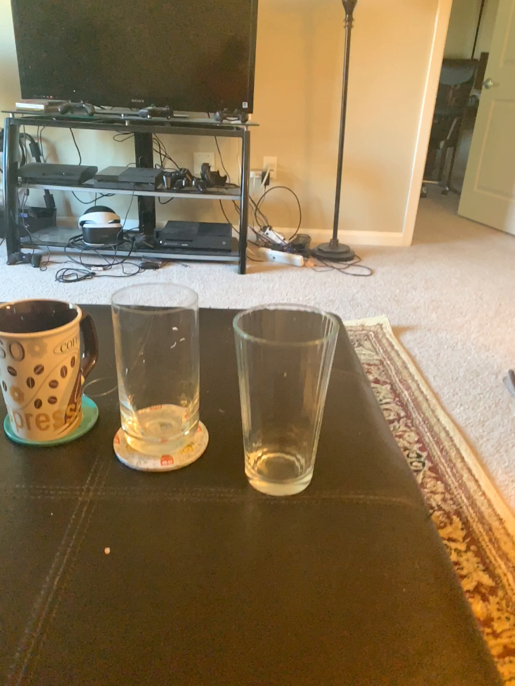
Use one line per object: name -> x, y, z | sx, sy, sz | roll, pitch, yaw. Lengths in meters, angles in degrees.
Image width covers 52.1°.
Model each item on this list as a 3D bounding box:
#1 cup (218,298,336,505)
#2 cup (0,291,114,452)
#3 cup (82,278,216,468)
cup -> 0.016, 0.046, 0.436 | 0.080, 0.139, 0.080 | 2, 25, -1
cup -> -0.199, 0.021, 0.478 | 0.090, 0.099, 0.090 | 2, 25, -1
cup -> -0.087, 0.023, 0.454 | 0.080, 0.129, 0.080 | 2, 25, -1
